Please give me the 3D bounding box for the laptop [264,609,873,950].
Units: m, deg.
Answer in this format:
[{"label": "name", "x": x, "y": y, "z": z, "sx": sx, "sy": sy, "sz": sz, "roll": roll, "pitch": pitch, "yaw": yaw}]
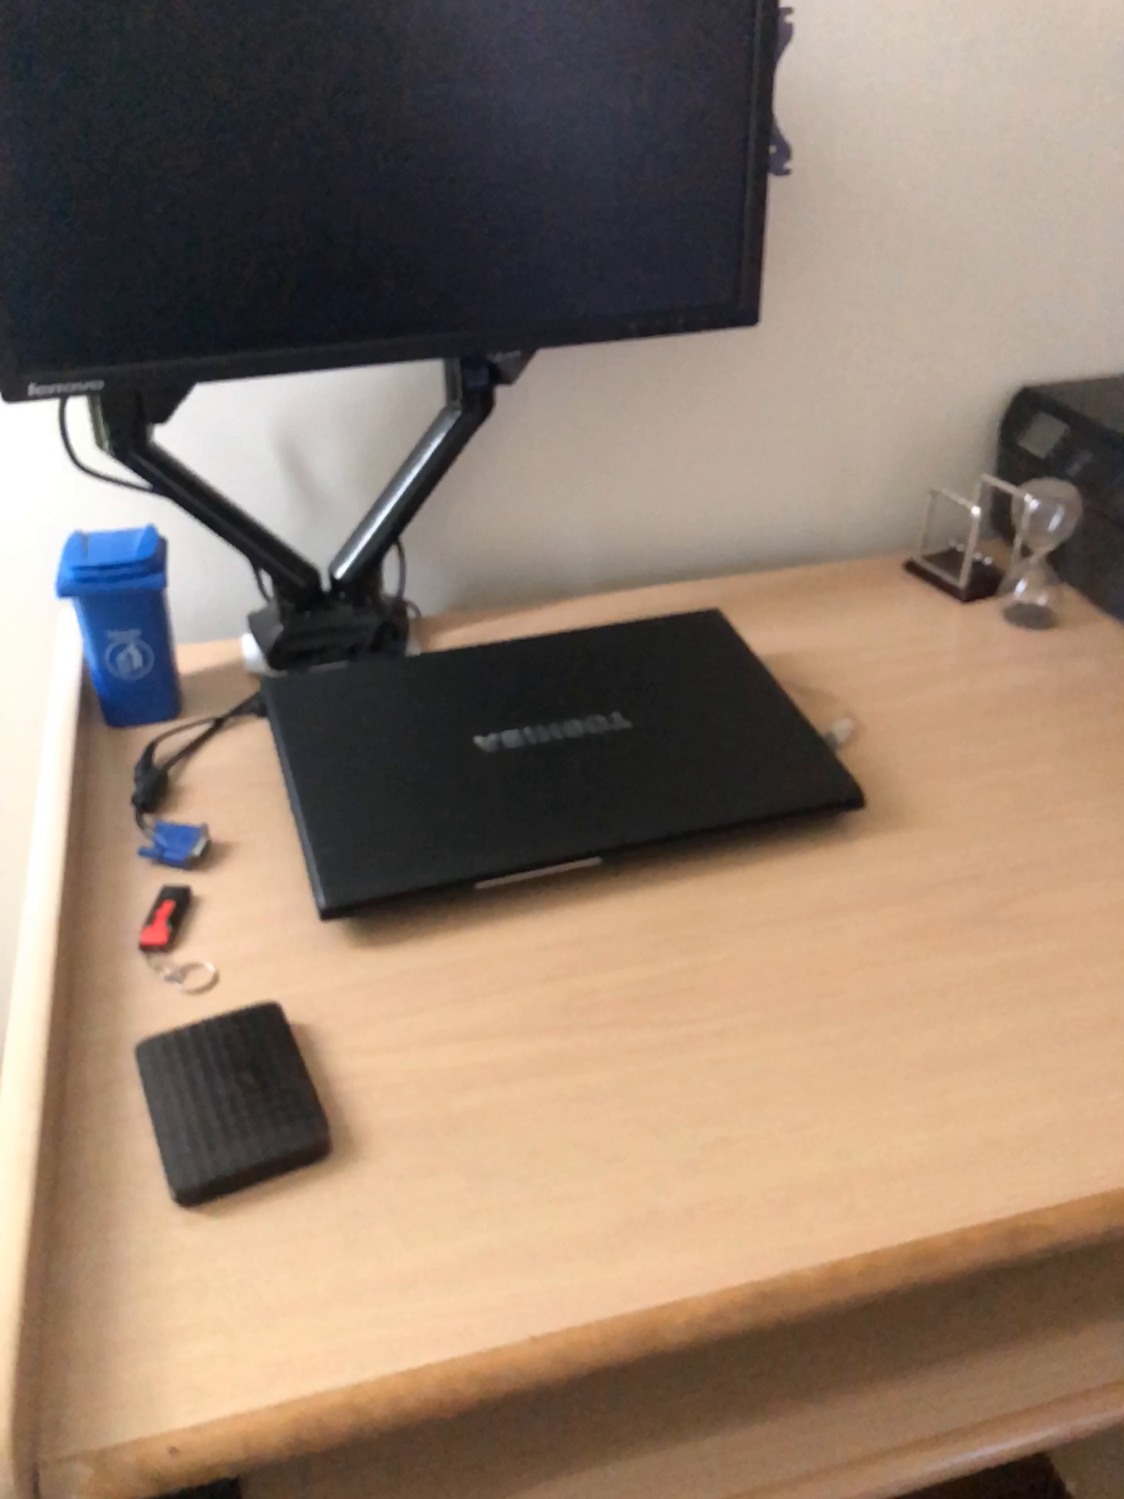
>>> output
[{"label": "laptop", "x": -0.006, "y": 0.003, "z": 0.920, "sx": 0.380, "sy": 0.029, "sz": 0.258, "roll": -10, "pitch": 40, "yaw": -16}]
